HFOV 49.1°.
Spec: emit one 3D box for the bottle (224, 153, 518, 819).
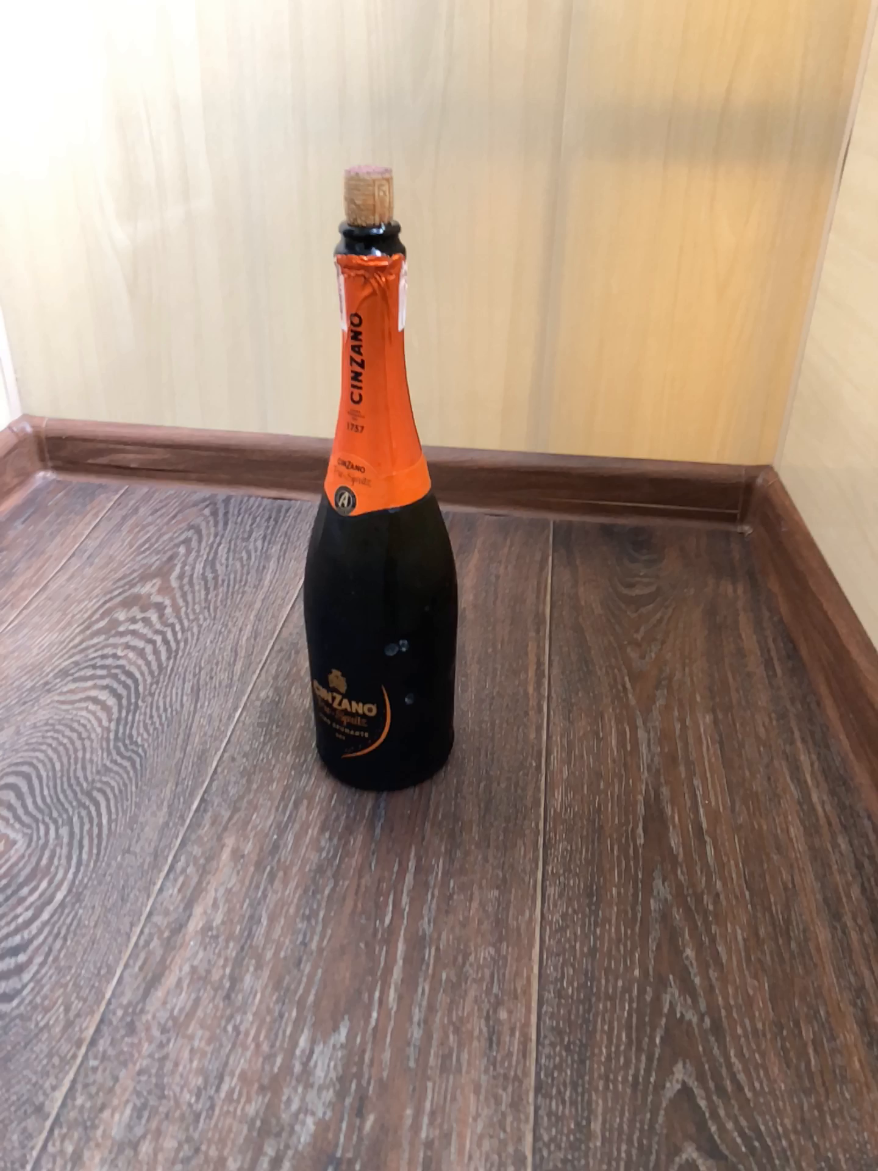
[{"bbox_3d":[-0.031,-0.045,0.515,0.092,0.328,0.101,1,30,-1],"label":"bottle"}]
